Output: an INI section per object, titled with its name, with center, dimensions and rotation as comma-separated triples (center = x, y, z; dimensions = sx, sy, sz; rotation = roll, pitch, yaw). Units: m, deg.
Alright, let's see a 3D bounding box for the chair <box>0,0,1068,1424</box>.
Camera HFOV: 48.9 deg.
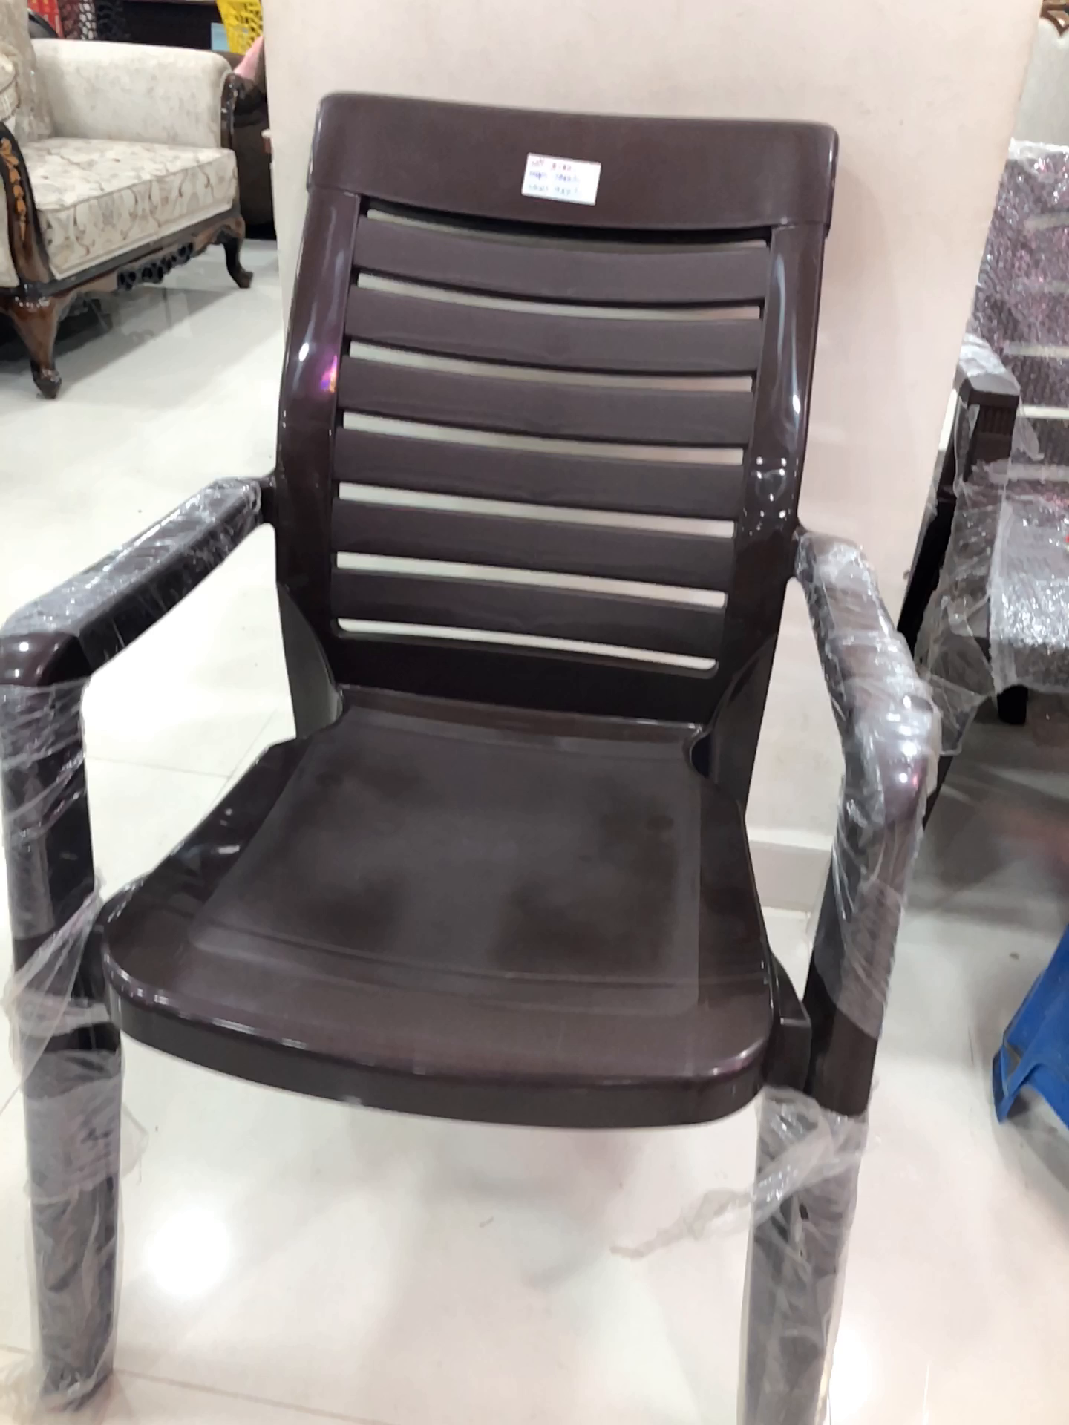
[chair]
center = -0.026, 0.034, 0.967
dimensions = 0.640, 1.003, 0.675
rotation = 7, 30, 5
